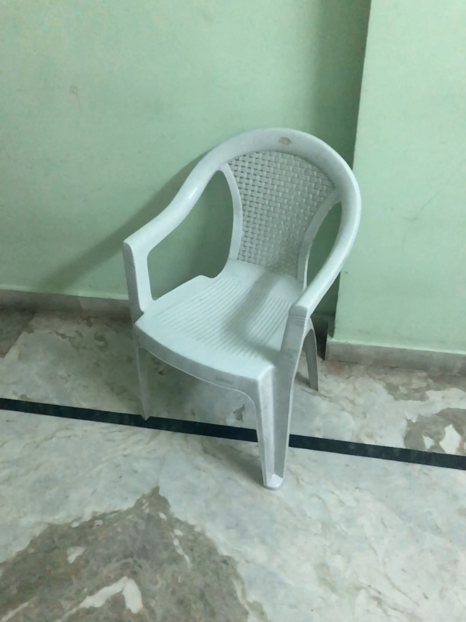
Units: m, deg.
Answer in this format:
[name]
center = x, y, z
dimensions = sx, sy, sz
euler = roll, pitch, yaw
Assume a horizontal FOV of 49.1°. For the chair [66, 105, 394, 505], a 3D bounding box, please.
[chair]
center = 0.024, -0.024, 1.413
dimensions = 0.531, 0.824, 0.532
euler = 23, 47, 28
